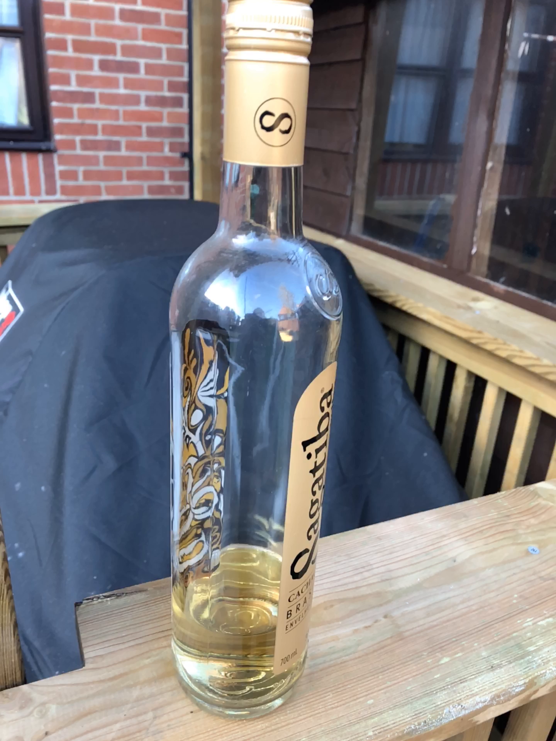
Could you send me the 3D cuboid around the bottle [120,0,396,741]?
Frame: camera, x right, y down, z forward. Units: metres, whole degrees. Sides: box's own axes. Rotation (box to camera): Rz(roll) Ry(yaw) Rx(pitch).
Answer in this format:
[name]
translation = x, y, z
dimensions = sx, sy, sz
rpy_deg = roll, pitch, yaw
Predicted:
[bottle]
translation = -0.010, 0.019, 0.272
dimensions = 0.060, 0.328, 0.080
rpy_deg = 15, 25, 30
